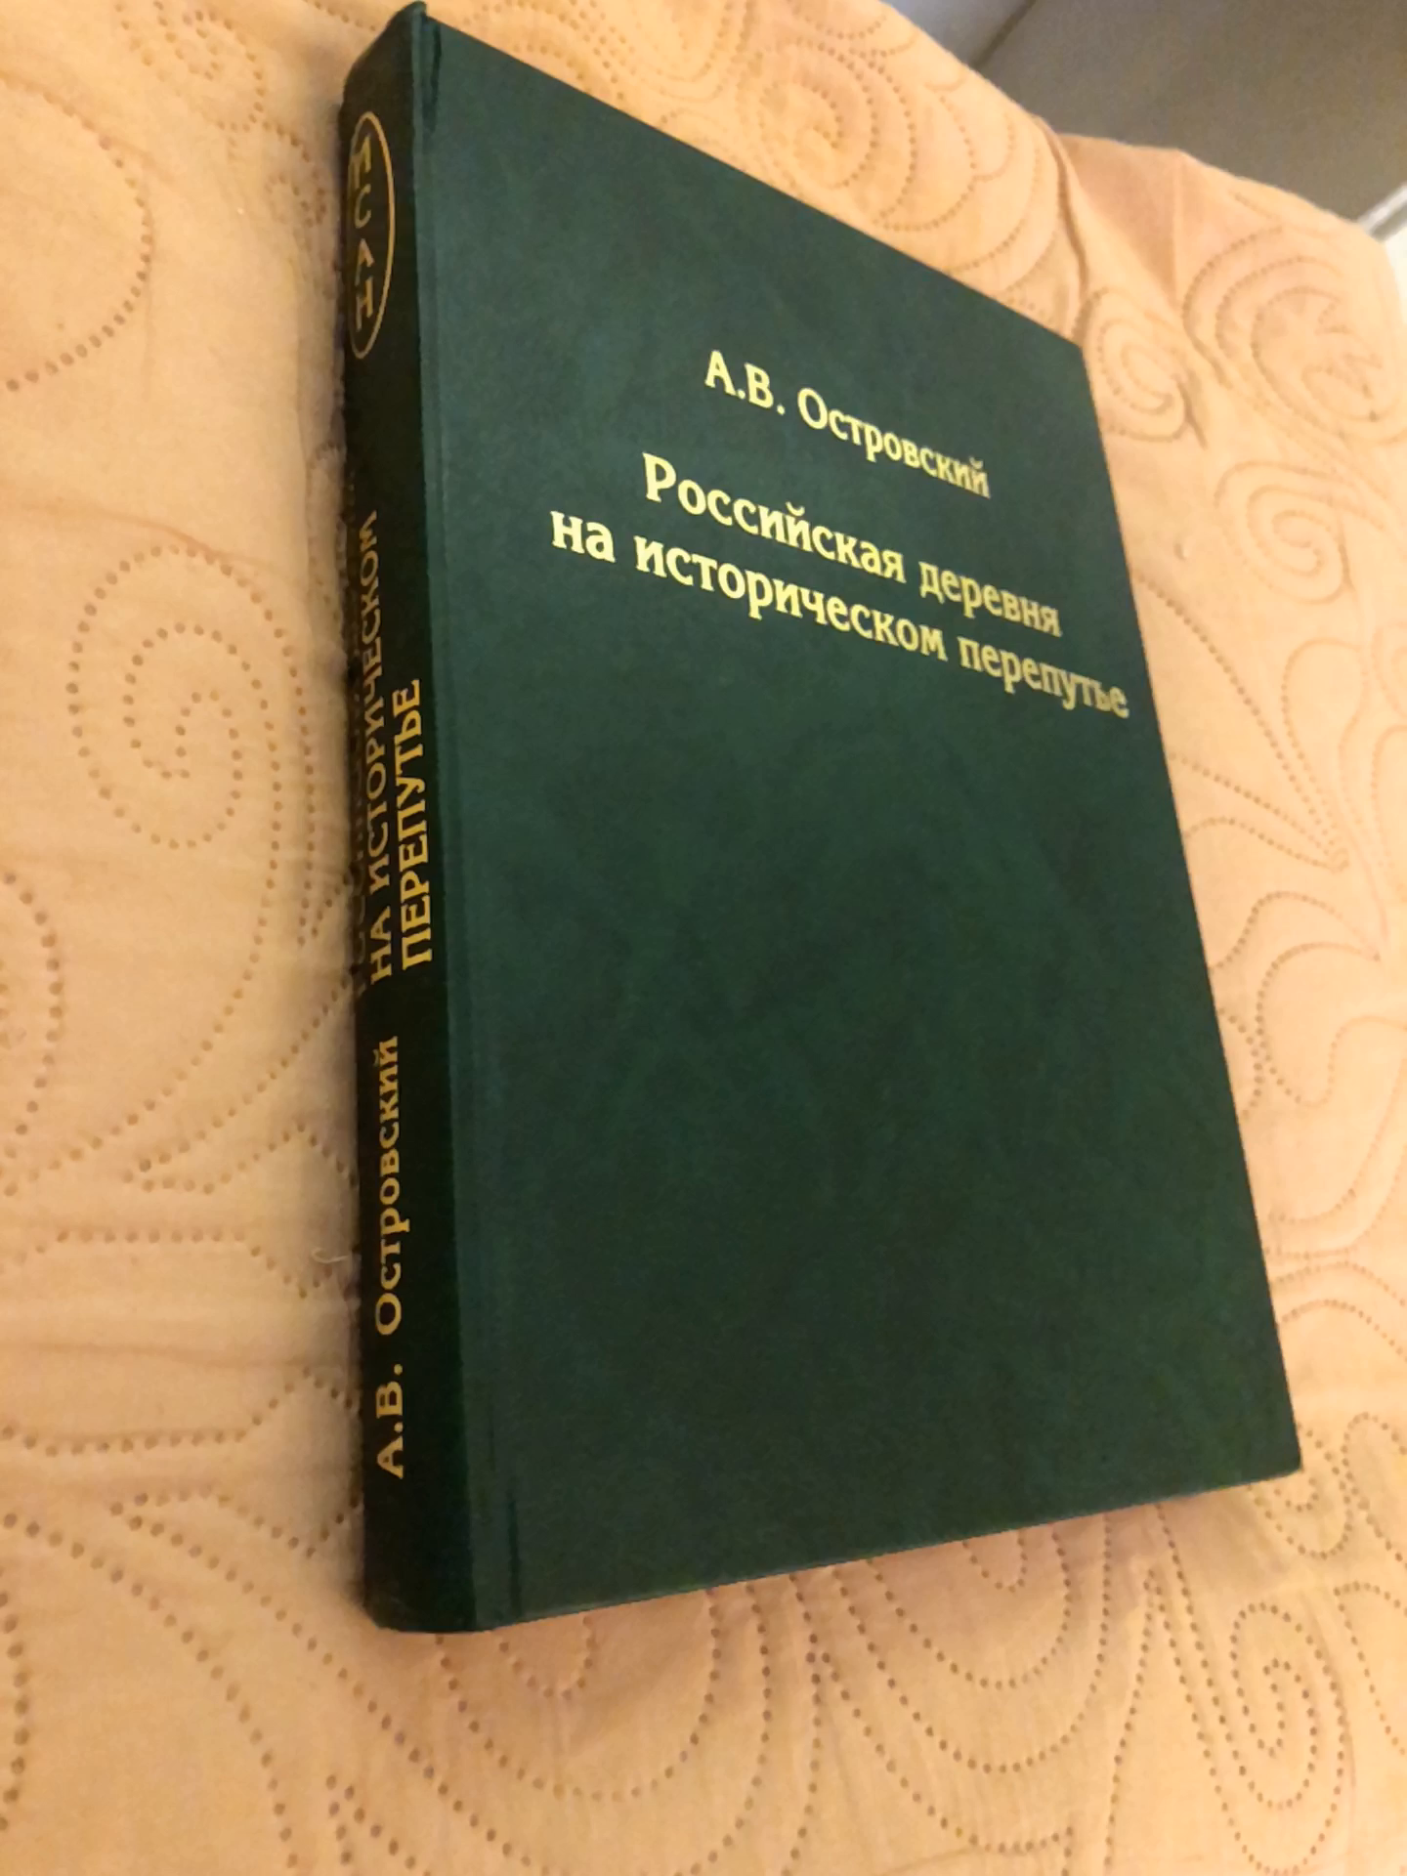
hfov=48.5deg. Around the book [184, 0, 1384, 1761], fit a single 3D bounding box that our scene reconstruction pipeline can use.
[{"bbox_3d":[0.014,-0.023,0.249,0.181,0.040,0.240,7,69,-36],"label":"book"}]
